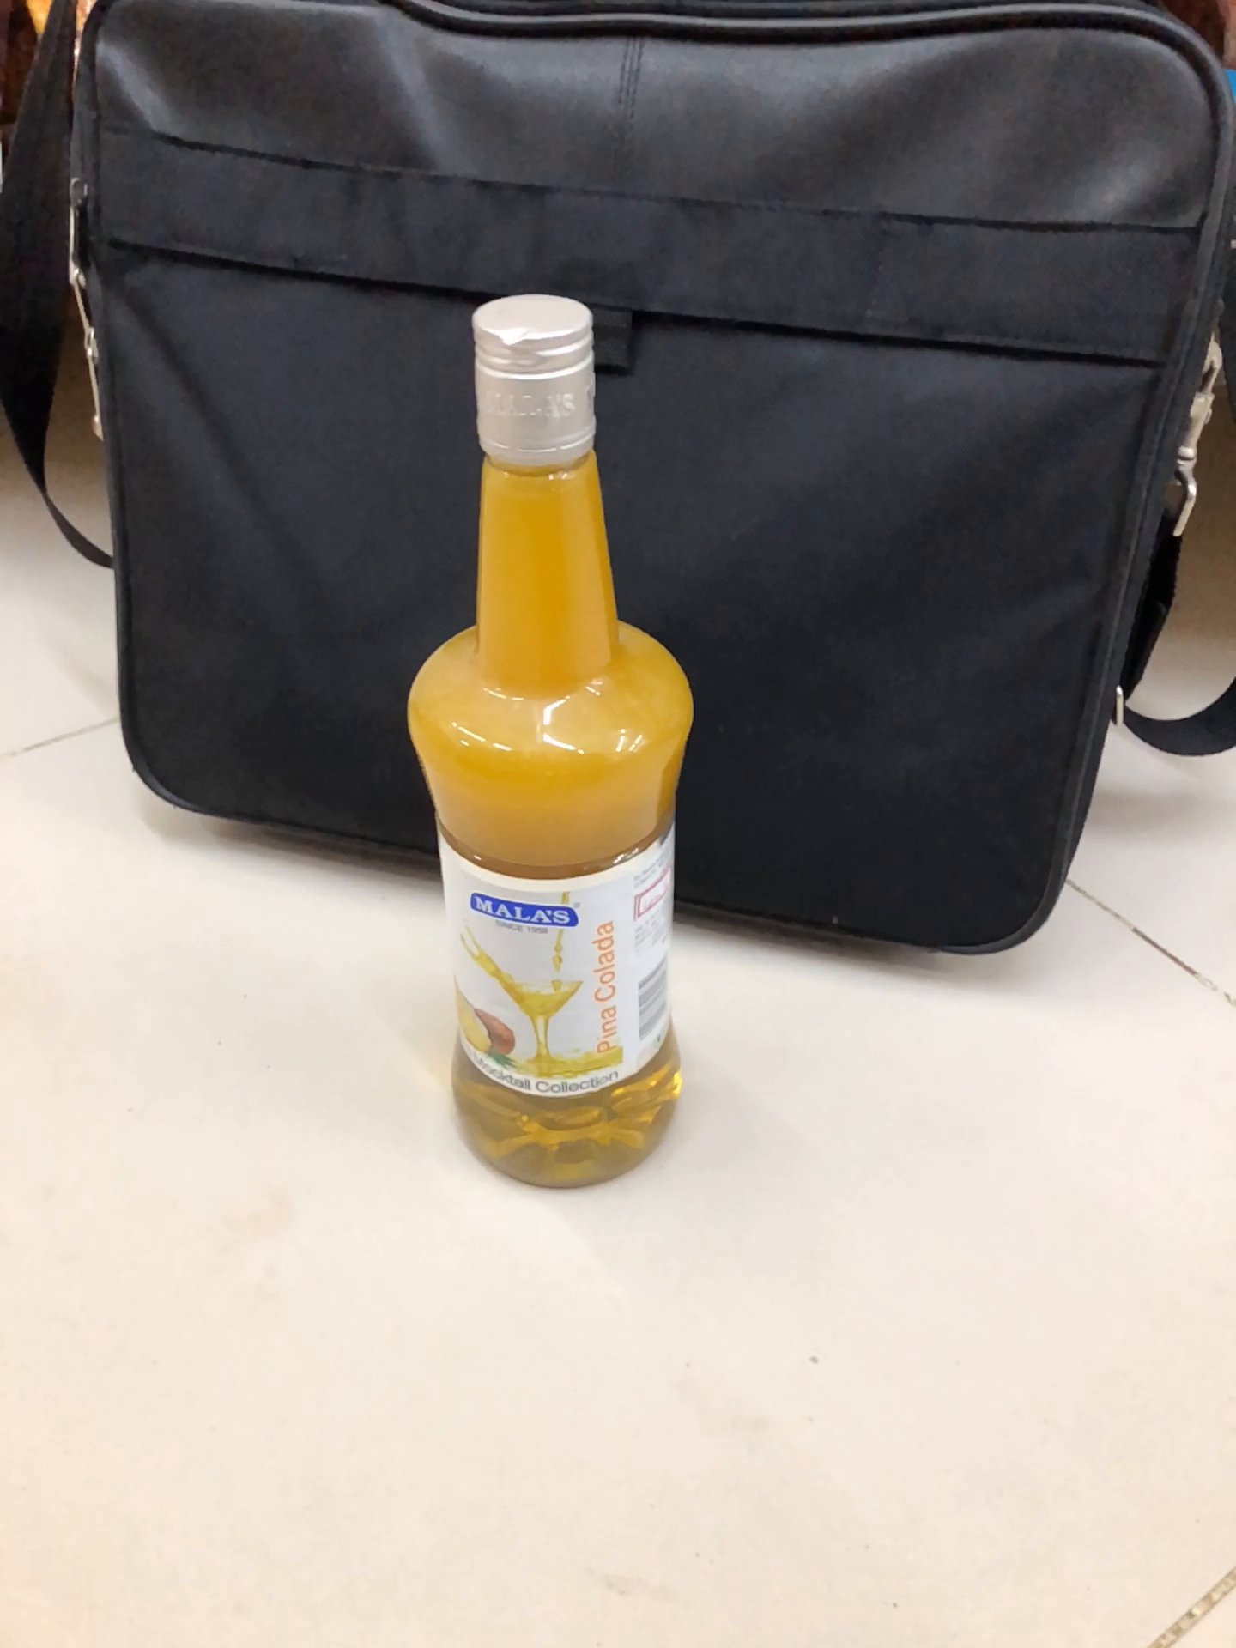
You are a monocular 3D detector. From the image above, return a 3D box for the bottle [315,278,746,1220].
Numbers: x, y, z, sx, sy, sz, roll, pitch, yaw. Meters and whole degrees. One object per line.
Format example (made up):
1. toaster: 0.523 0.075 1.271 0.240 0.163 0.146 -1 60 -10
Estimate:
1. bottle: -0.018 -0.004 0.420 0.090 0.288 0.081 5 39 6
